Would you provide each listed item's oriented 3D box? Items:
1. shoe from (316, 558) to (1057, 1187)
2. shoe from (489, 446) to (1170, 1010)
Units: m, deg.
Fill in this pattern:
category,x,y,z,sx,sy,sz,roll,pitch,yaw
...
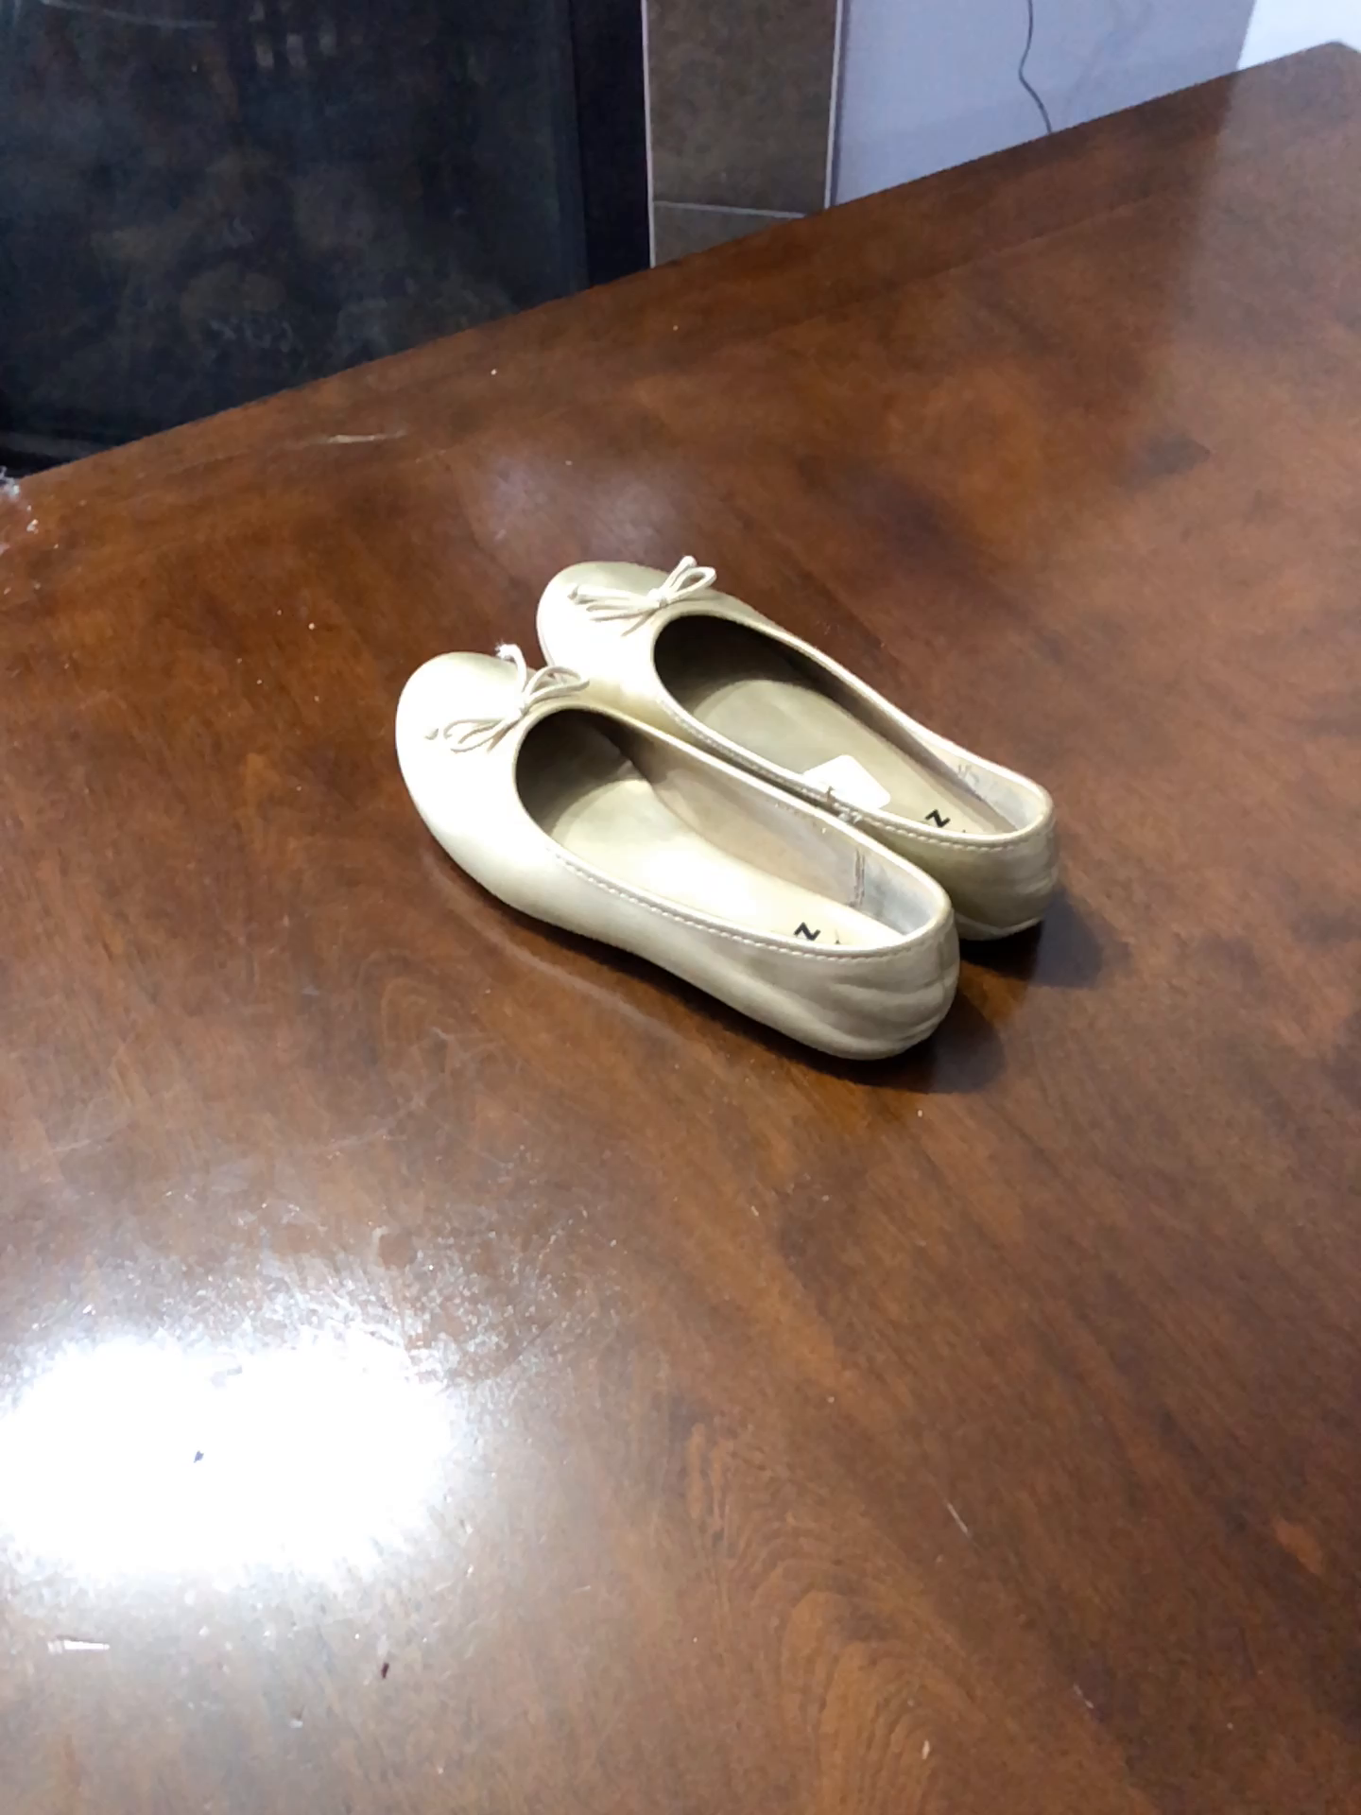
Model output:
category,x,y,z,sx,sy,sz,roll,pitch,yaw
shoe,-0.004,-0.020,0.503,0.230,0.070,0.090,33,59,24
shoe,0.044,-0.071,0.536,0.230,0.070,0.080,35,60,25
